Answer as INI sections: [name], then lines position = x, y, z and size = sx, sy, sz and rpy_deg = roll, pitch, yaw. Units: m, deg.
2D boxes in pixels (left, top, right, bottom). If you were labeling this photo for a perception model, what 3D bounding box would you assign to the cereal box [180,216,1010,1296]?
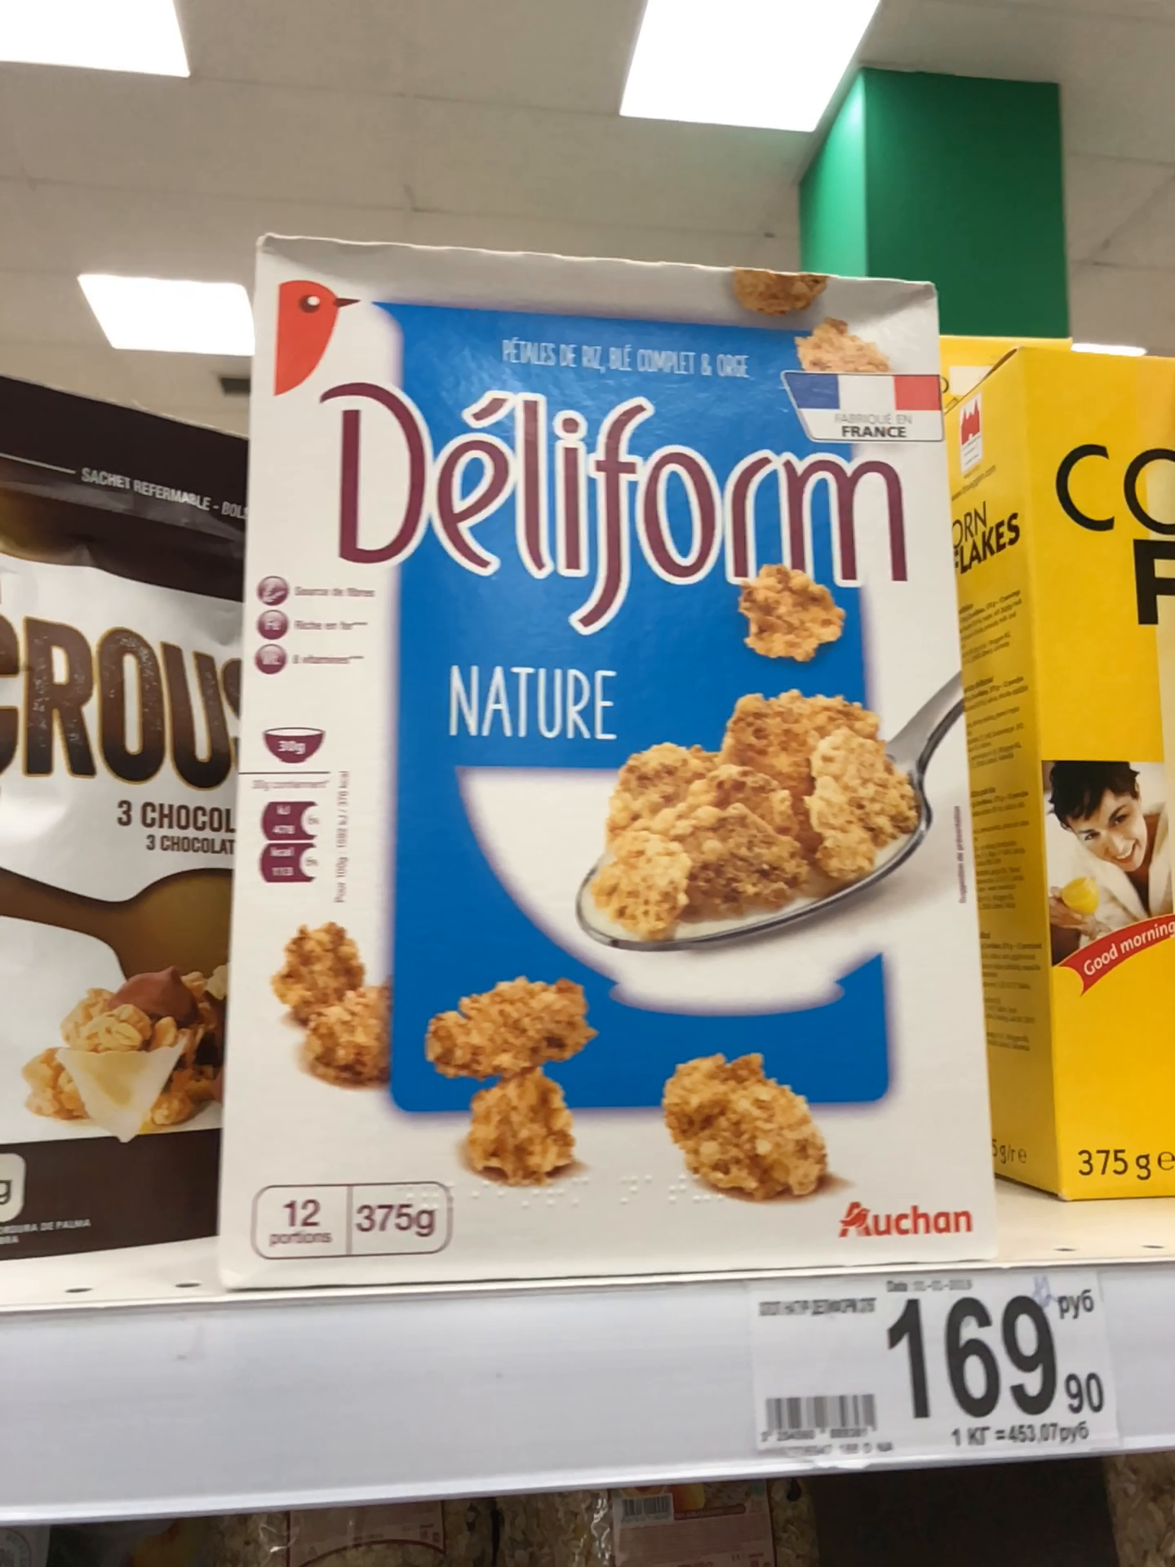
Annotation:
[cereal box]
position = 0.001, -0.010, 0.363
size = 0.200, 0.271, 0.060
rpy_deg = 1, -10, -9
